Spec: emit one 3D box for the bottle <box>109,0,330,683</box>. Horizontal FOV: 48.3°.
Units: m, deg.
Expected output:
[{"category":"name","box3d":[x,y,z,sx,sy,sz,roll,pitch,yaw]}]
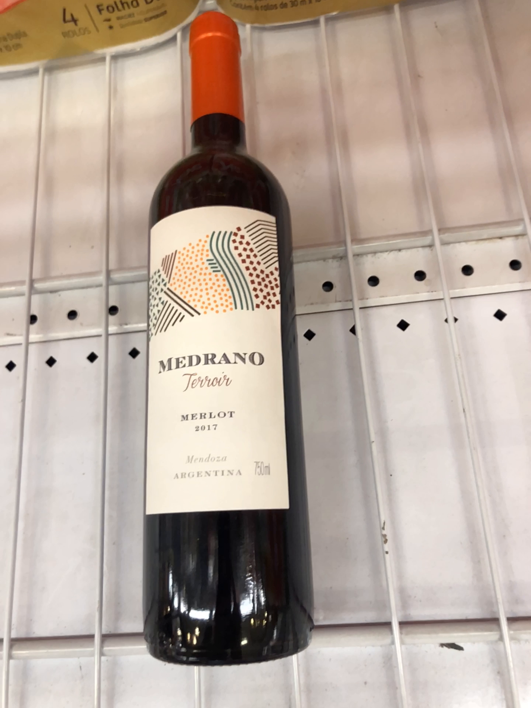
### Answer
[{"category":"bottle","box3d":[-0.021,-0.027,0.301,0.080,0.070,0.331,-5,72,7]}]
